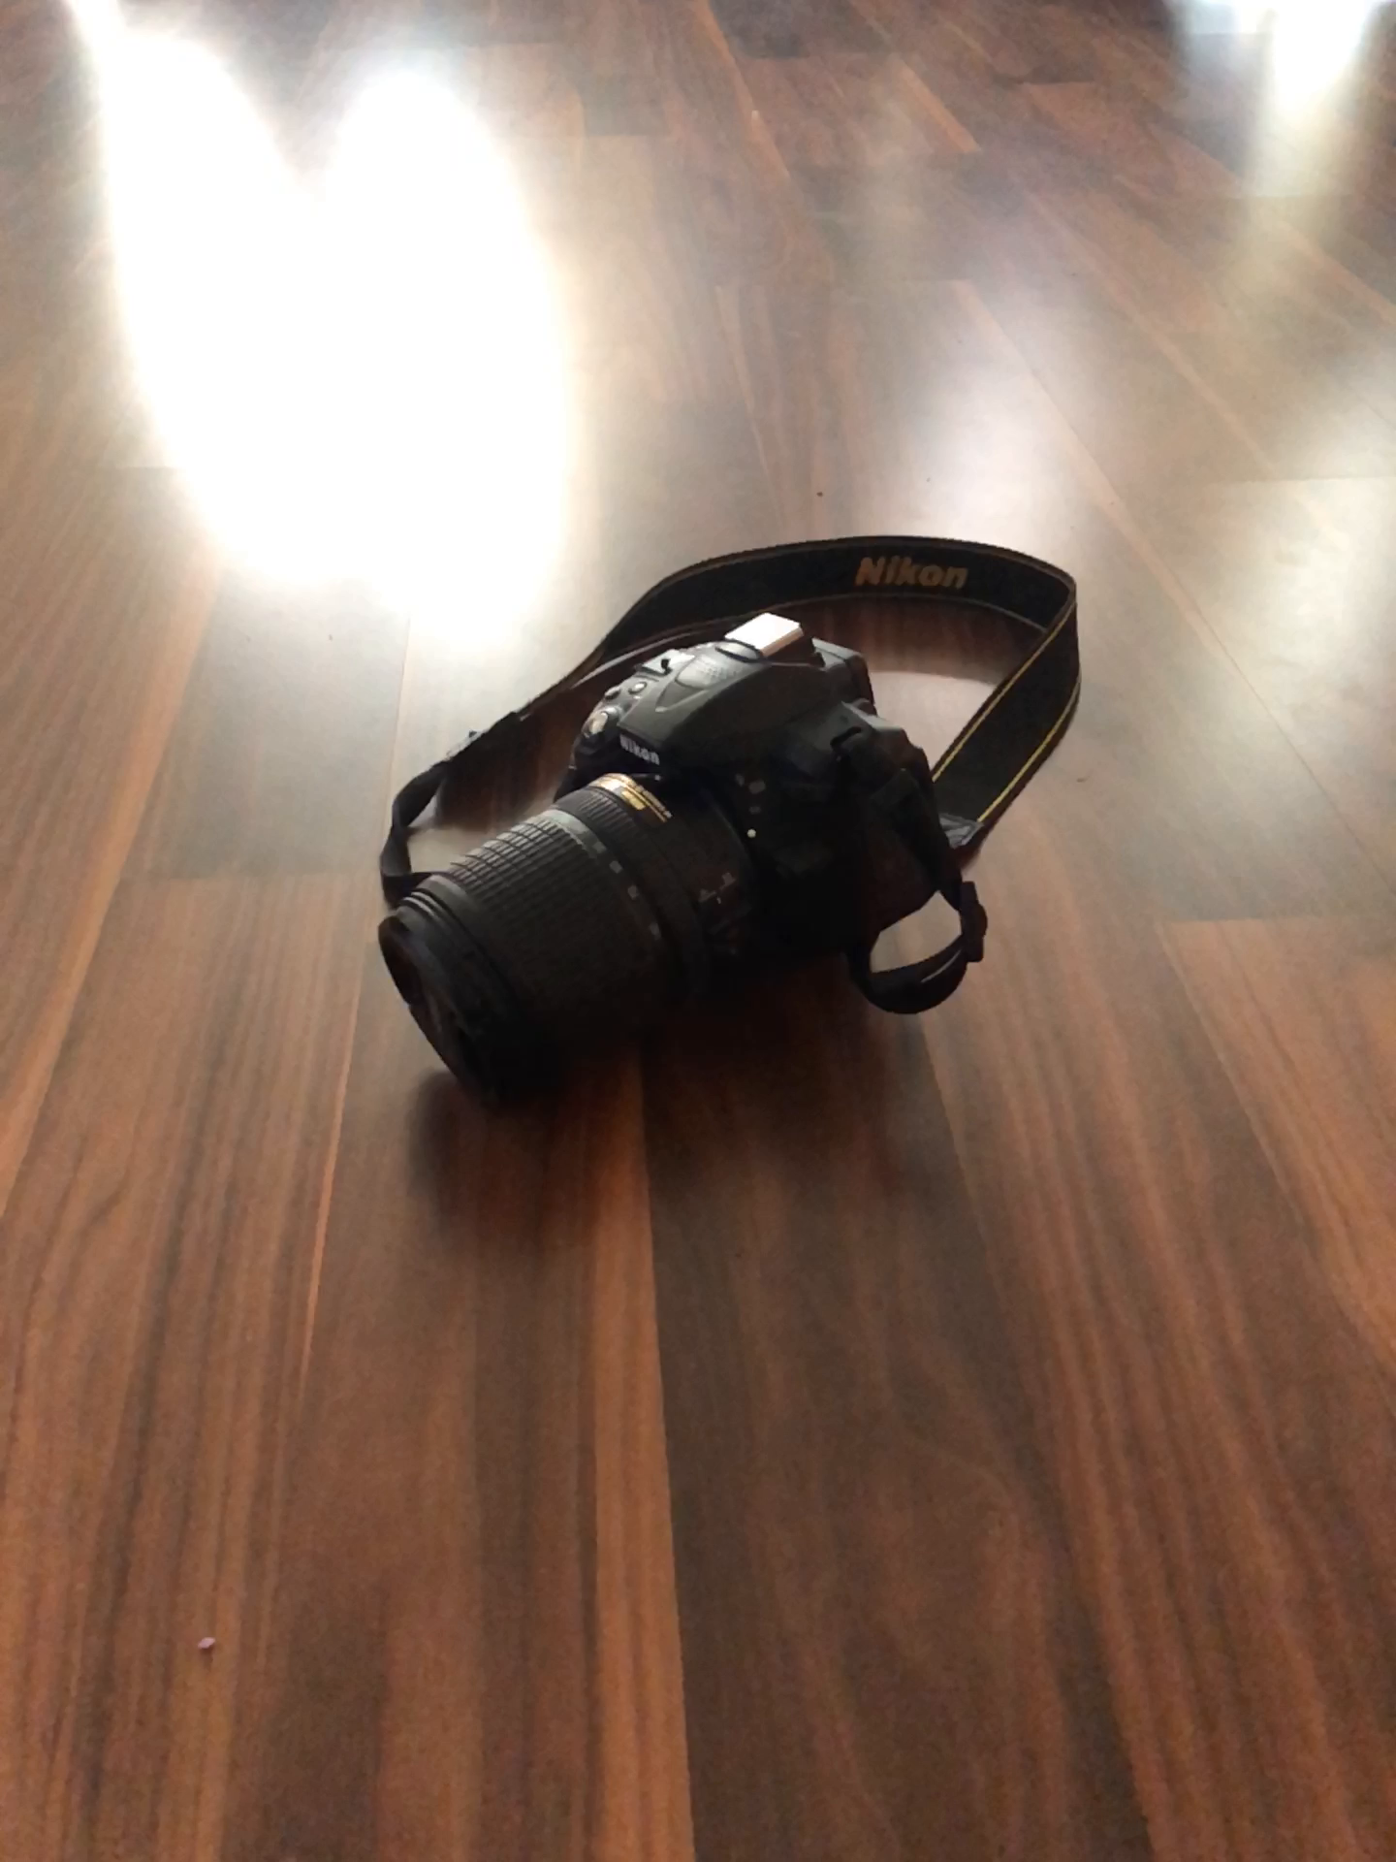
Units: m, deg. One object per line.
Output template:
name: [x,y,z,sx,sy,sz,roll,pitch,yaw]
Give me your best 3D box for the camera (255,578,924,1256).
camera: [-0.029,-0.012,0.525,0.180,0.129,0.110,-30,47,-26]
